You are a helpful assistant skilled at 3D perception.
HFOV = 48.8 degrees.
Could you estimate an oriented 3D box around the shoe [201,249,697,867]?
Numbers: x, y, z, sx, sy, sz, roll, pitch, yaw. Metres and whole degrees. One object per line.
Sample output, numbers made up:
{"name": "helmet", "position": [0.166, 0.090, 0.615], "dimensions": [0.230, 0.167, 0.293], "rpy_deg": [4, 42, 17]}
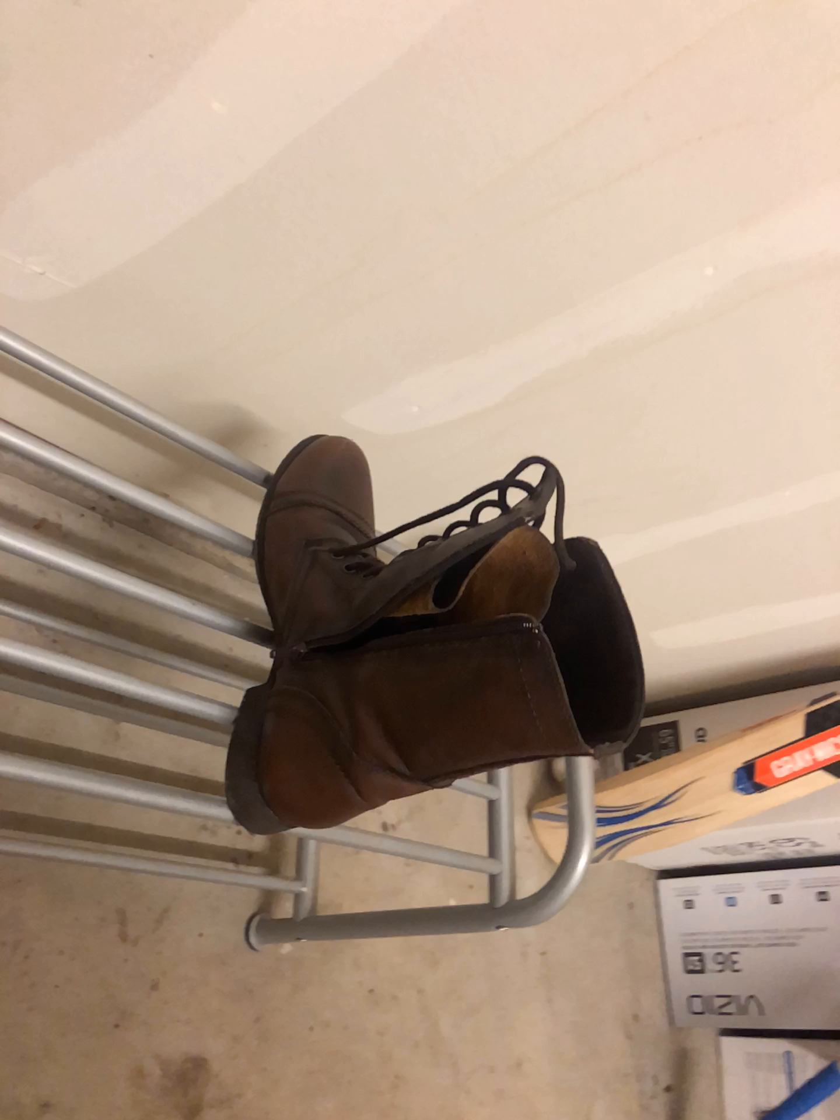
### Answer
{"name": "shoe", "position": [0.014, 0.012, 0.553], "dimensions": [0.122, 0.237, 0.287], "rpy_deg": [30, 52, -38]}
